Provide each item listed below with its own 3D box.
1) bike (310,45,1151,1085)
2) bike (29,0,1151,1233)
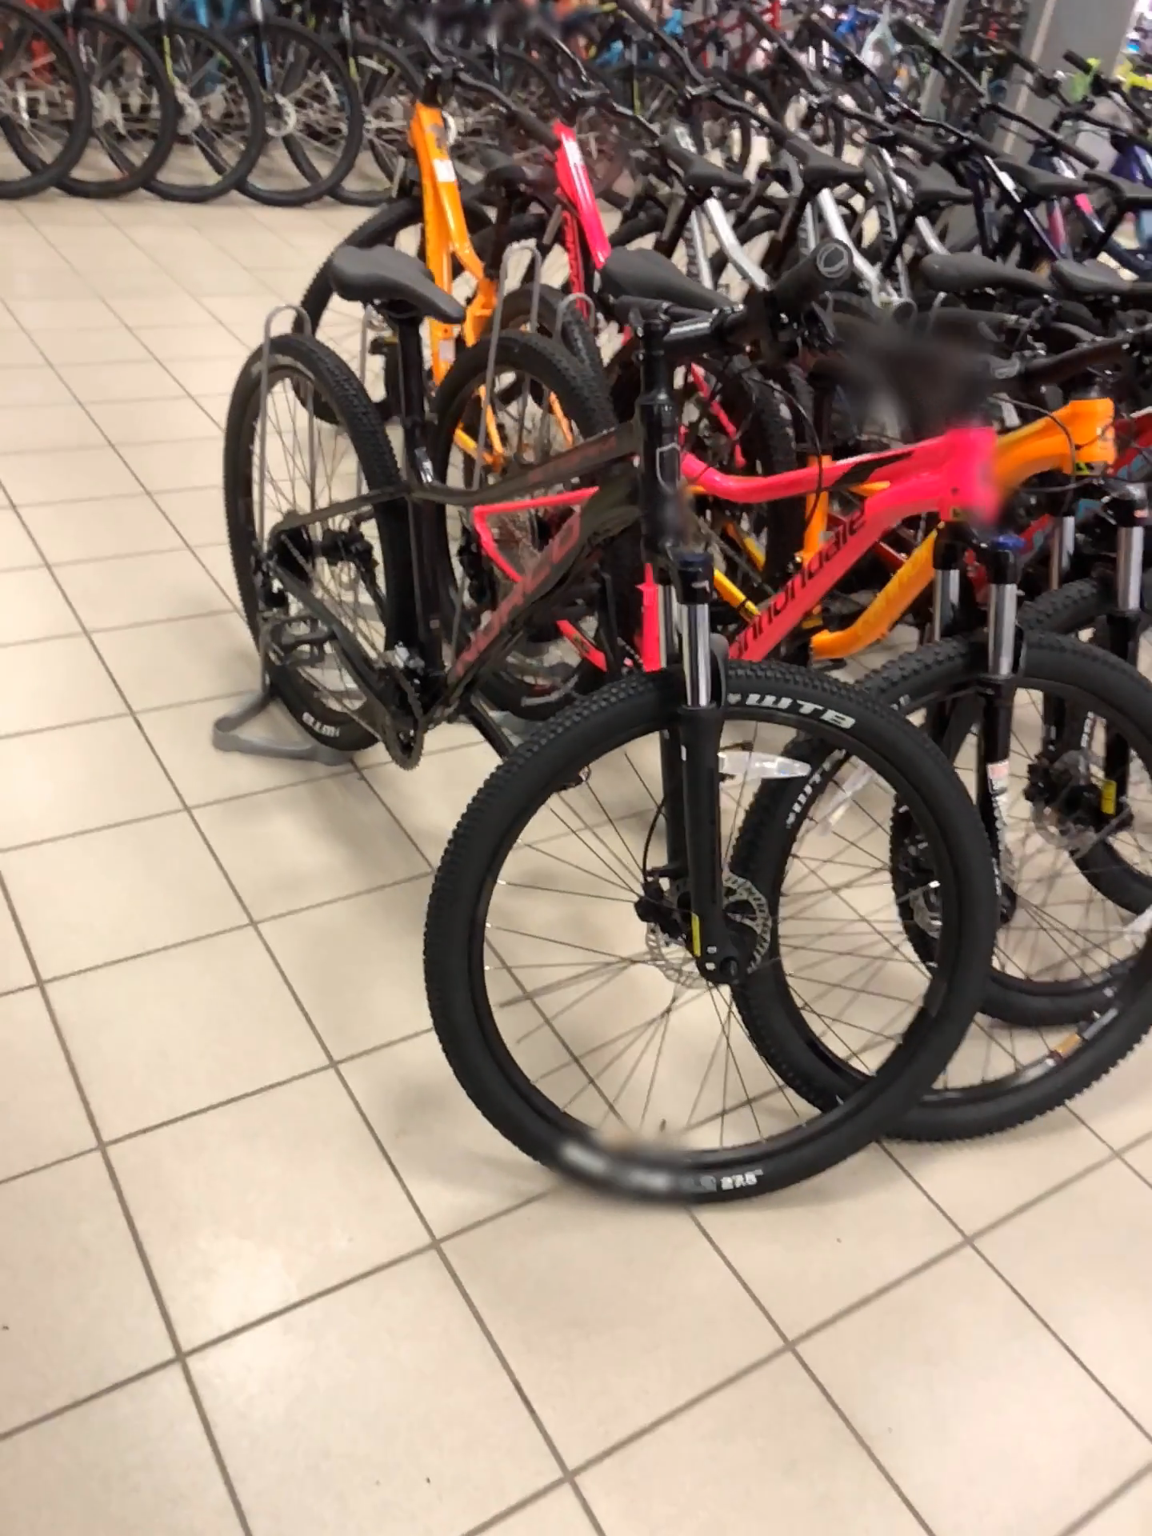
[{"bbox_3d":[0.377,-0.416,2.048,0.655,1.074,1.567,-23,44,-39],"label":"bike"},{"bbox_3d":[0.021,-0.319,1.879,0.687,1.100,1.582,-24,48,-40],"label":"bike"}]
